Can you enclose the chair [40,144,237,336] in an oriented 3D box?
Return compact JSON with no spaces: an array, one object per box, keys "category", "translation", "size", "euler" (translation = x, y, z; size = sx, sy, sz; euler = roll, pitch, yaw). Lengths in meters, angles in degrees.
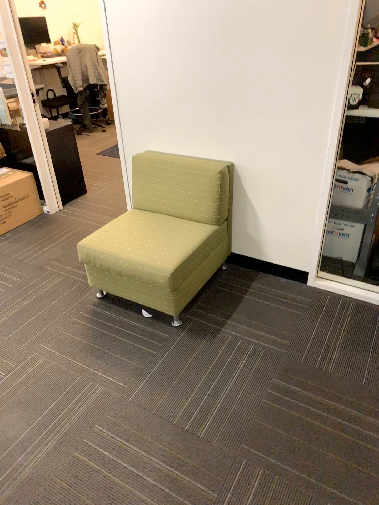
[{"category":"chair","translation":[-0.229,-0.138,2.253],"size":[0.732,0.686,0.783],"euler":[15,37,26]}]
